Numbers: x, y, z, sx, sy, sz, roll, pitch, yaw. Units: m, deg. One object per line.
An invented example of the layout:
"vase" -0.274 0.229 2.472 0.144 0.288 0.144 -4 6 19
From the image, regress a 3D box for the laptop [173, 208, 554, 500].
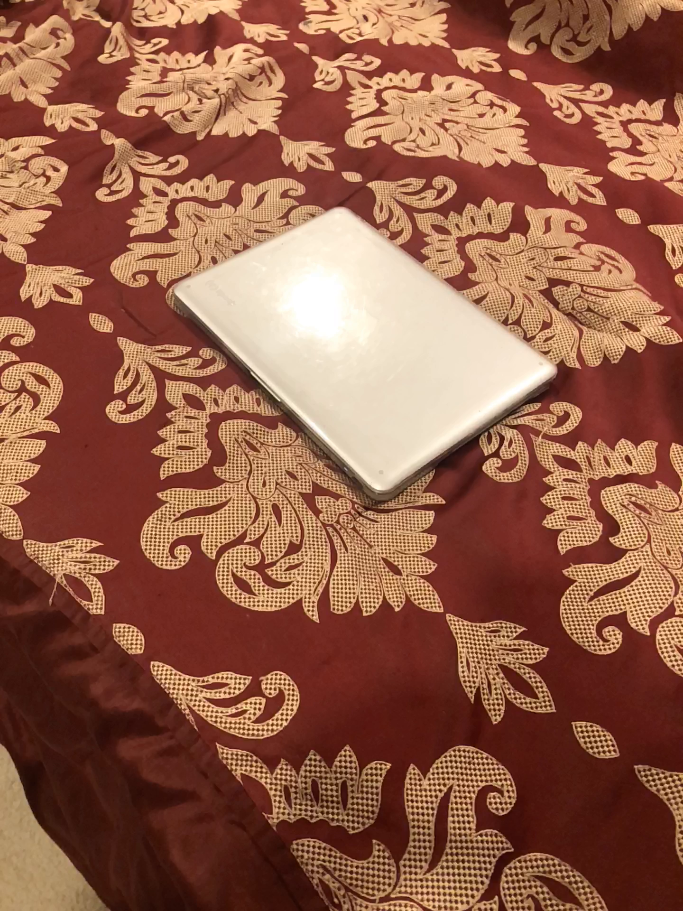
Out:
"laptop" 0.011 -0.115 0.701 0.207 0.015 0.305 -32 58 -23
